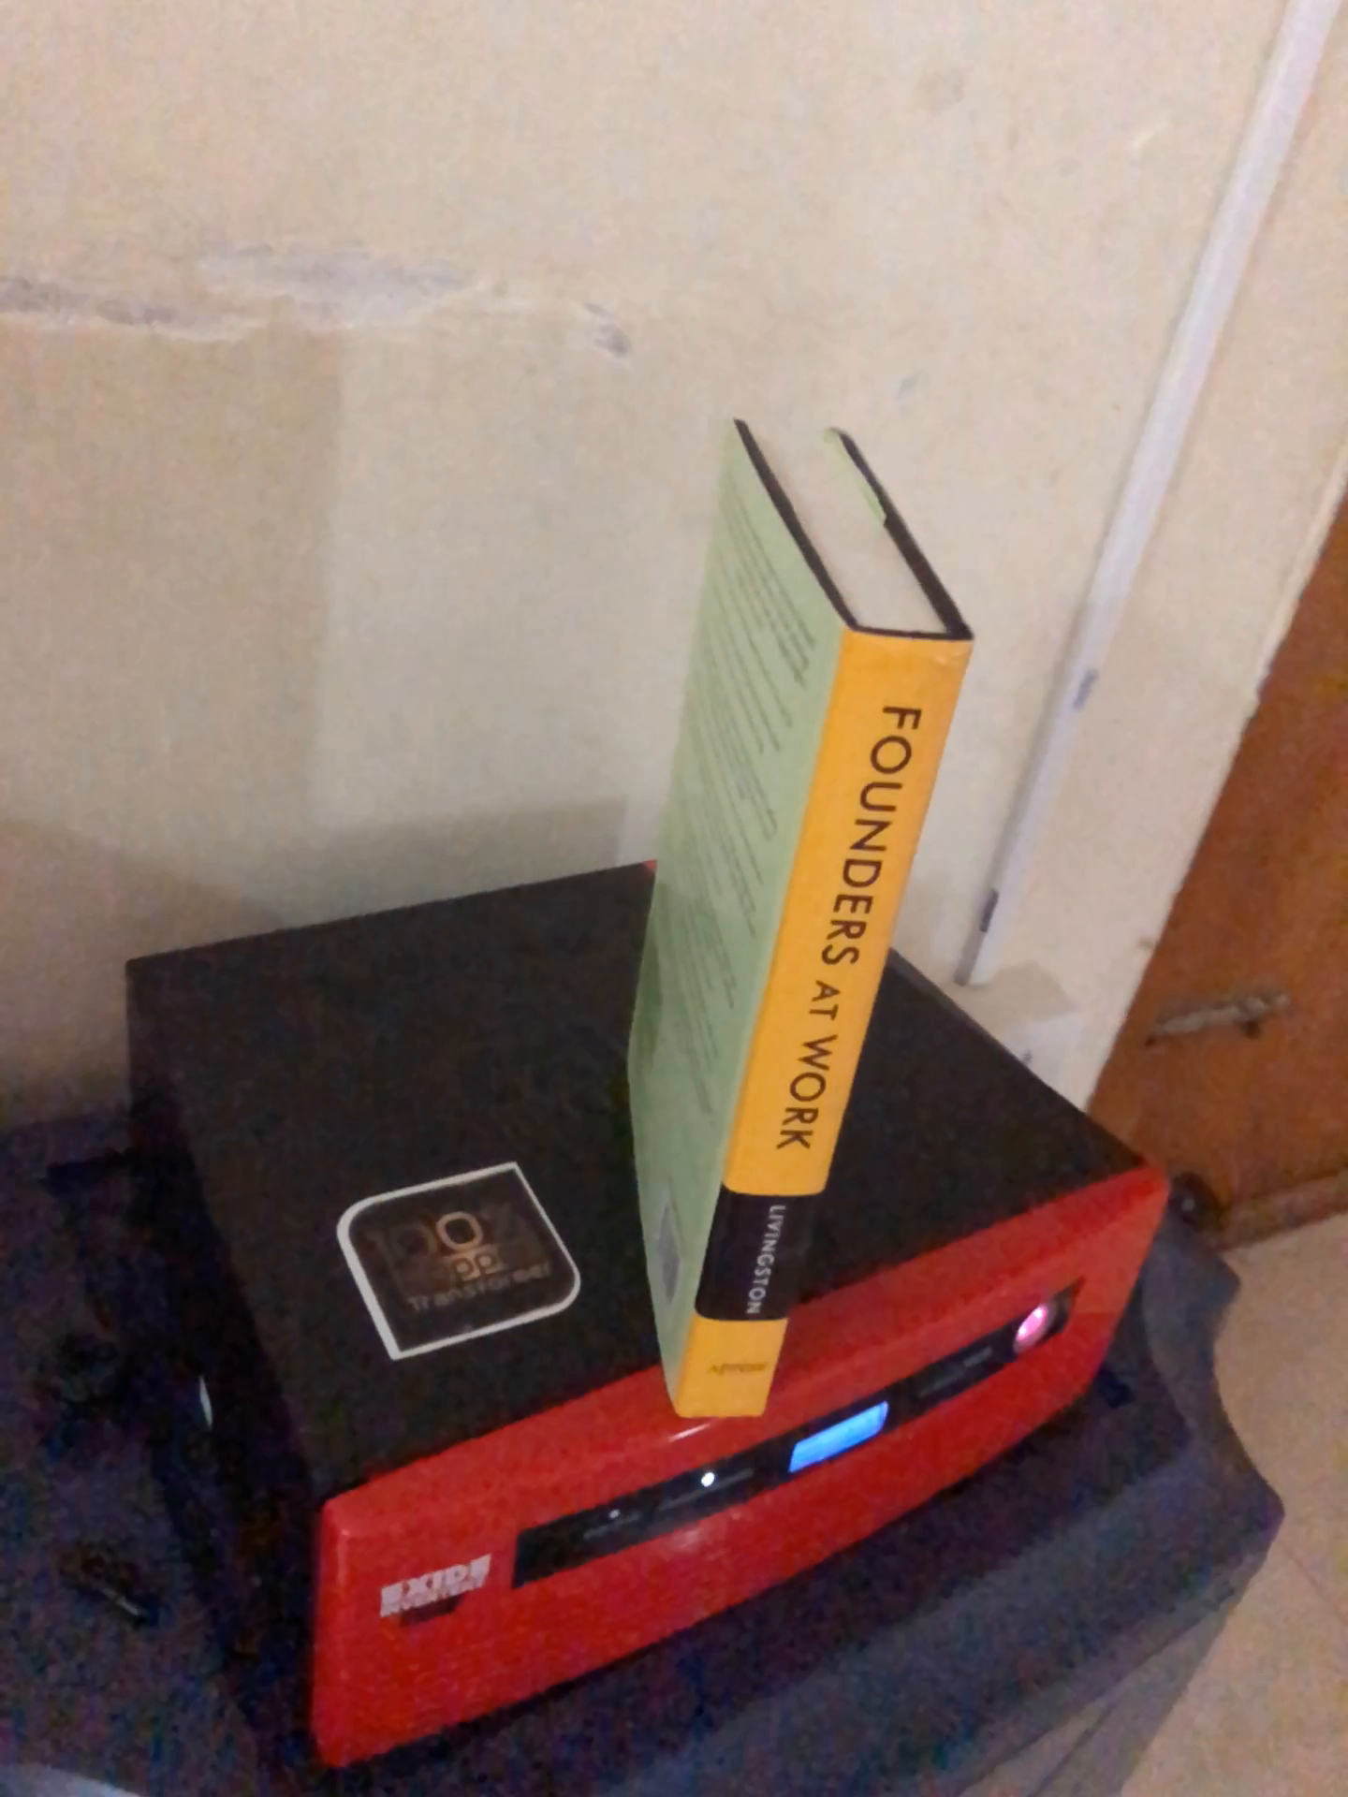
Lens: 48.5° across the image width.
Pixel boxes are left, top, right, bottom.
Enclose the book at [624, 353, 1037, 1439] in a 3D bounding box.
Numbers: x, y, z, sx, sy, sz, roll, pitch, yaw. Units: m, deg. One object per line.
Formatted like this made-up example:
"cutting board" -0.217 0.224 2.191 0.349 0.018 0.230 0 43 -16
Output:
"book" 0.026 -0.002 0.428 0.040 0.249 0.181 5 33 -8
